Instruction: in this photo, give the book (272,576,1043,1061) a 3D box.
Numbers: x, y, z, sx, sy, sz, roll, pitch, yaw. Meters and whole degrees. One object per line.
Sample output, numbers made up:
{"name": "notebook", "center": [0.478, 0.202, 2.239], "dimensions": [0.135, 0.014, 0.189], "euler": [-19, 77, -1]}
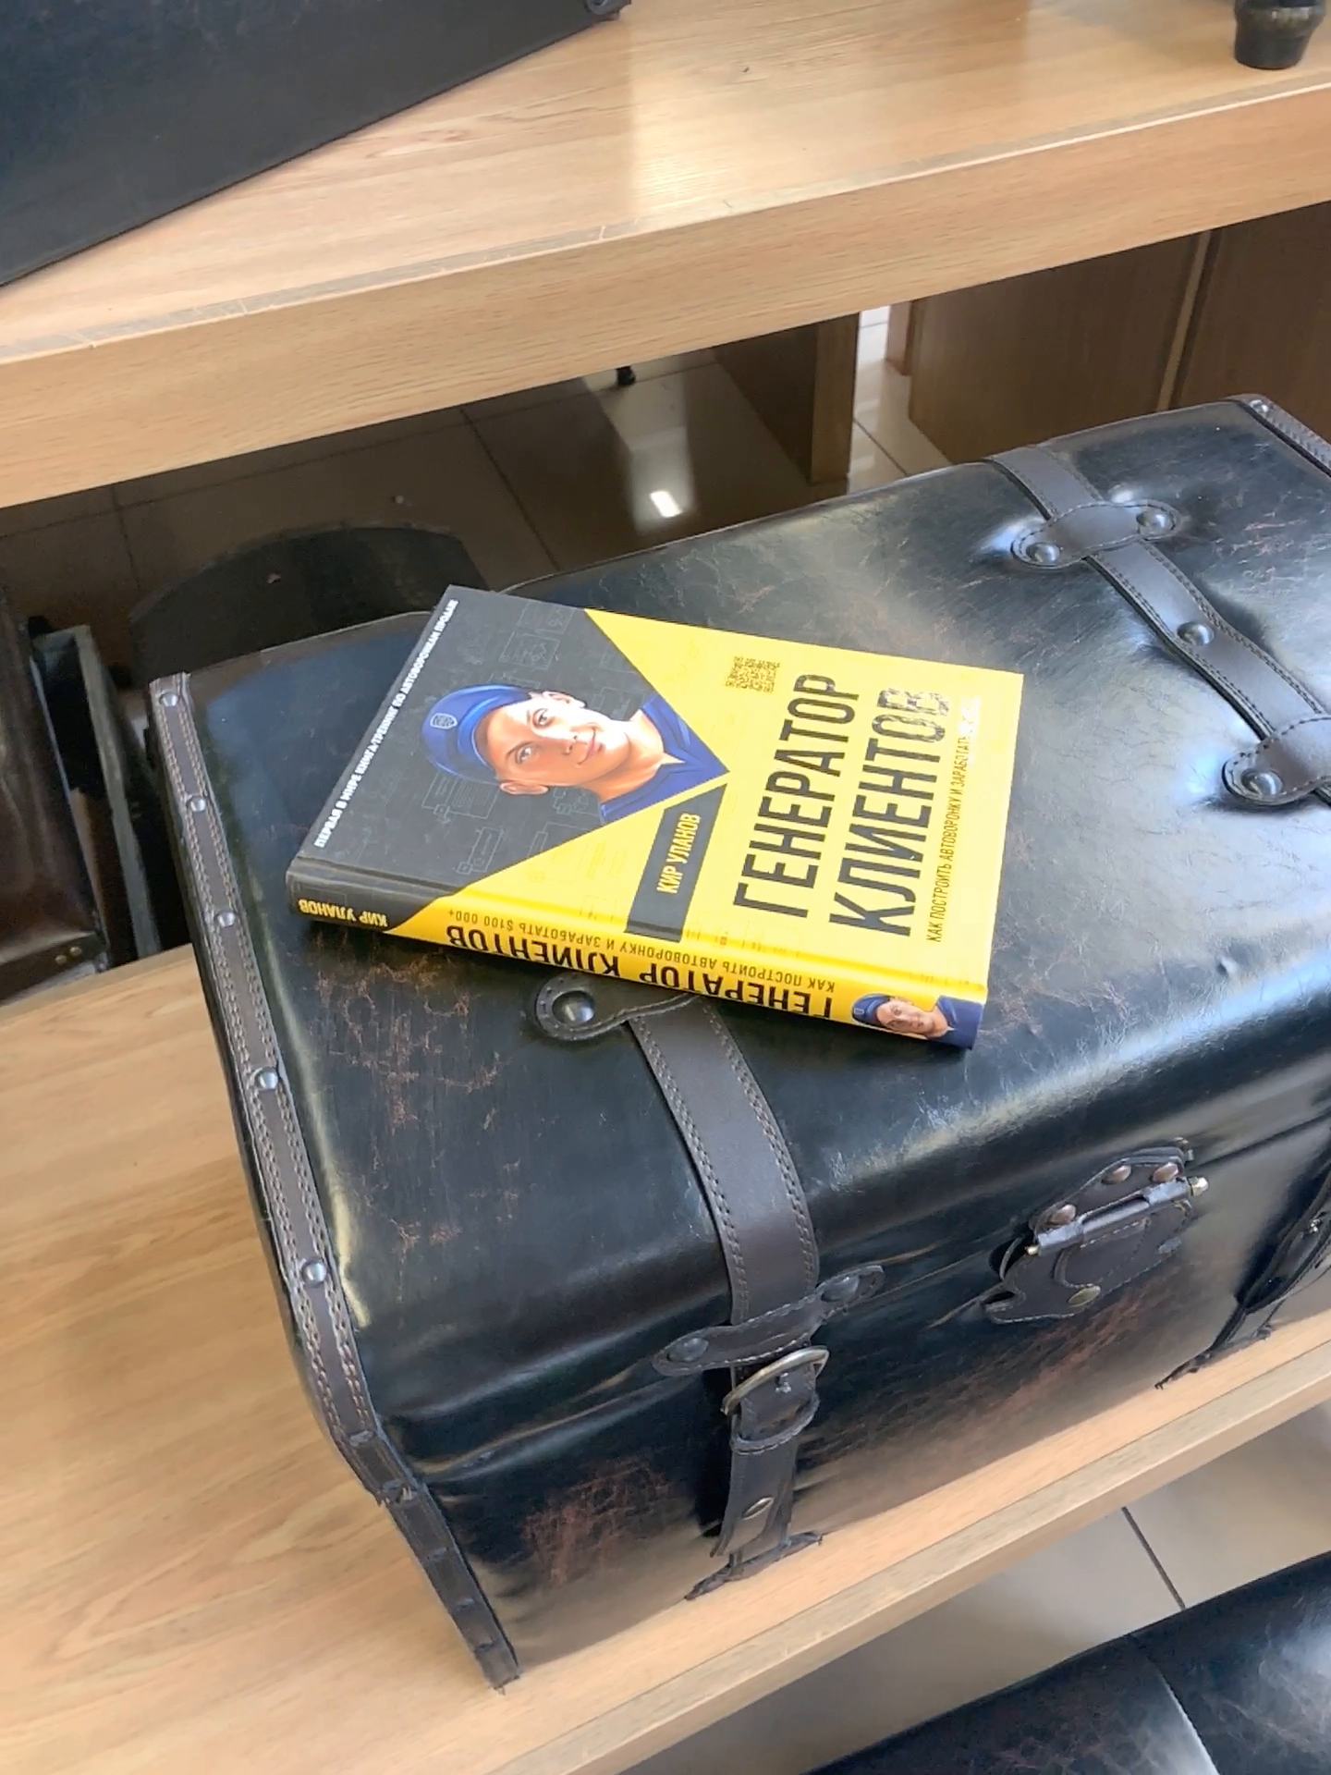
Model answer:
{"name": "book", "center": [0.006, -0.036, 0.499], "dimensions": [0.242, 0.030, 0.168], "euler": [10, 50, 10]}
